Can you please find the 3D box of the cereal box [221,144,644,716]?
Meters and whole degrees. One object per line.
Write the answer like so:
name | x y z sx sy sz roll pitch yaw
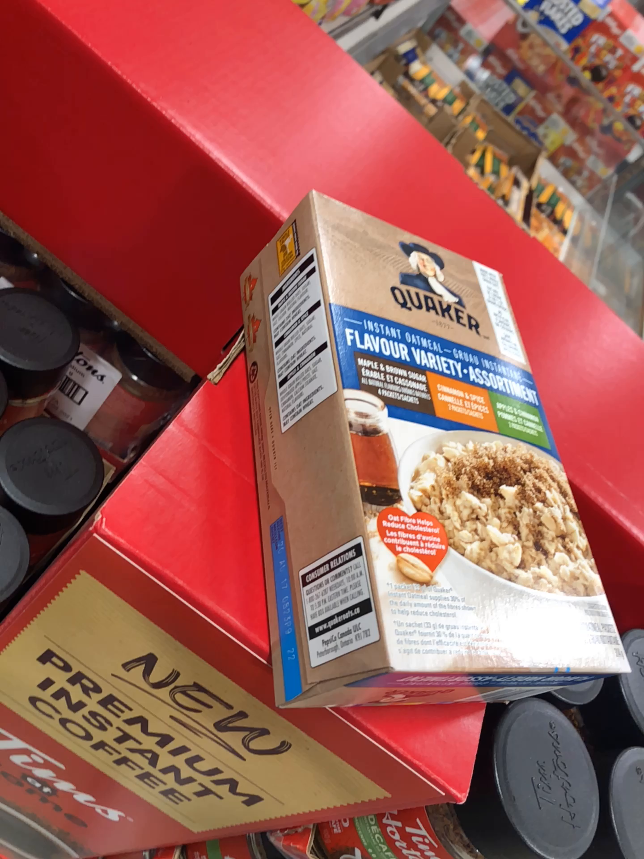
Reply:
cereal box | 0.040 0.004 0.308 0.141 0.070 0.210 13 56 -33
